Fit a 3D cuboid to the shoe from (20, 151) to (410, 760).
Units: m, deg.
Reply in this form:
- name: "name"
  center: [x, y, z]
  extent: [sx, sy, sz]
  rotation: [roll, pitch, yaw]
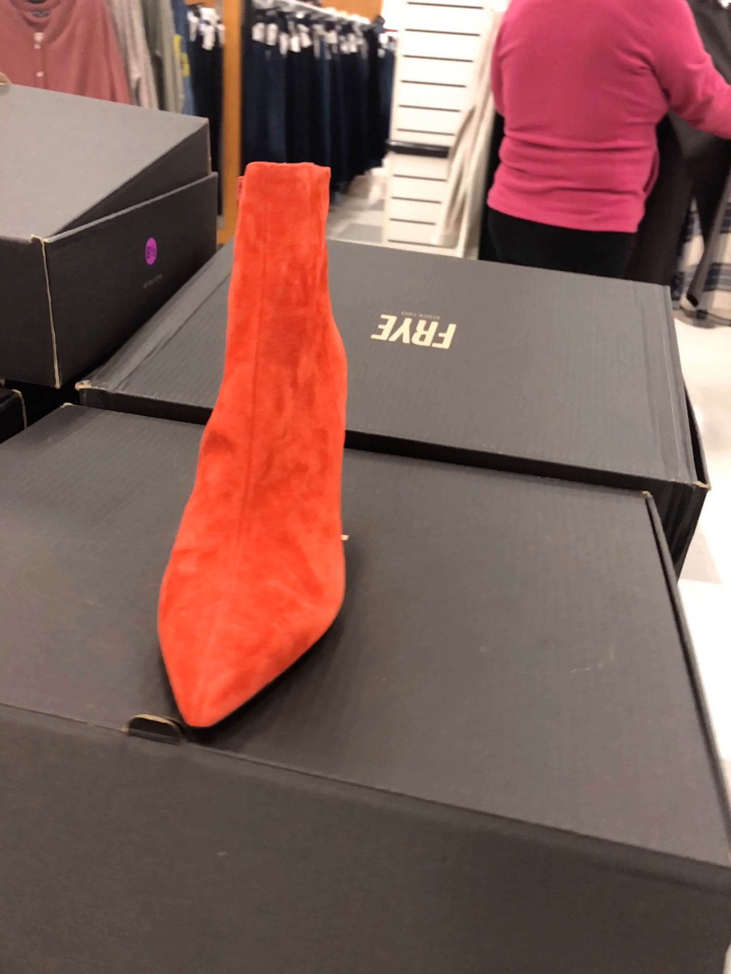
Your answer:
- name: "shoe"
  center: [-0.048, -0.047, 0.398]
  extent: [0.100, 0.211, 0.262]
  rotation: [7, 23, 4]
